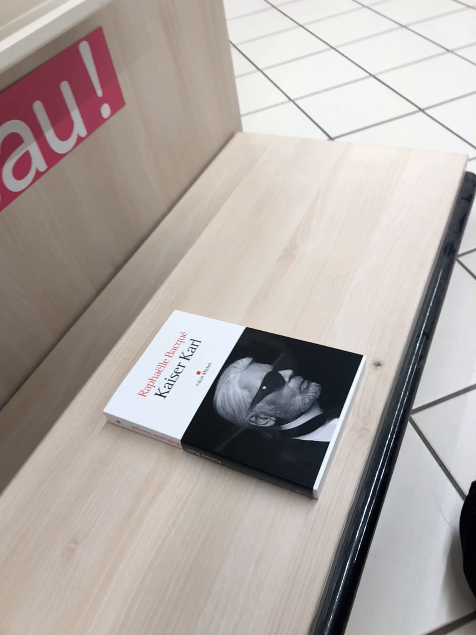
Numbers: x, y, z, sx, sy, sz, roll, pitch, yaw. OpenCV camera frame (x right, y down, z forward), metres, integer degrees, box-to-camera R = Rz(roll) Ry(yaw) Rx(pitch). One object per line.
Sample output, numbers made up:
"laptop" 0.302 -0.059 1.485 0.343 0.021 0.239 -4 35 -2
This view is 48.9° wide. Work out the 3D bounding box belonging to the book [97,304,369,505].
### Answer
"book" -0.002 0.070 0.510 0.220 0.030 0.151 13 49 22
